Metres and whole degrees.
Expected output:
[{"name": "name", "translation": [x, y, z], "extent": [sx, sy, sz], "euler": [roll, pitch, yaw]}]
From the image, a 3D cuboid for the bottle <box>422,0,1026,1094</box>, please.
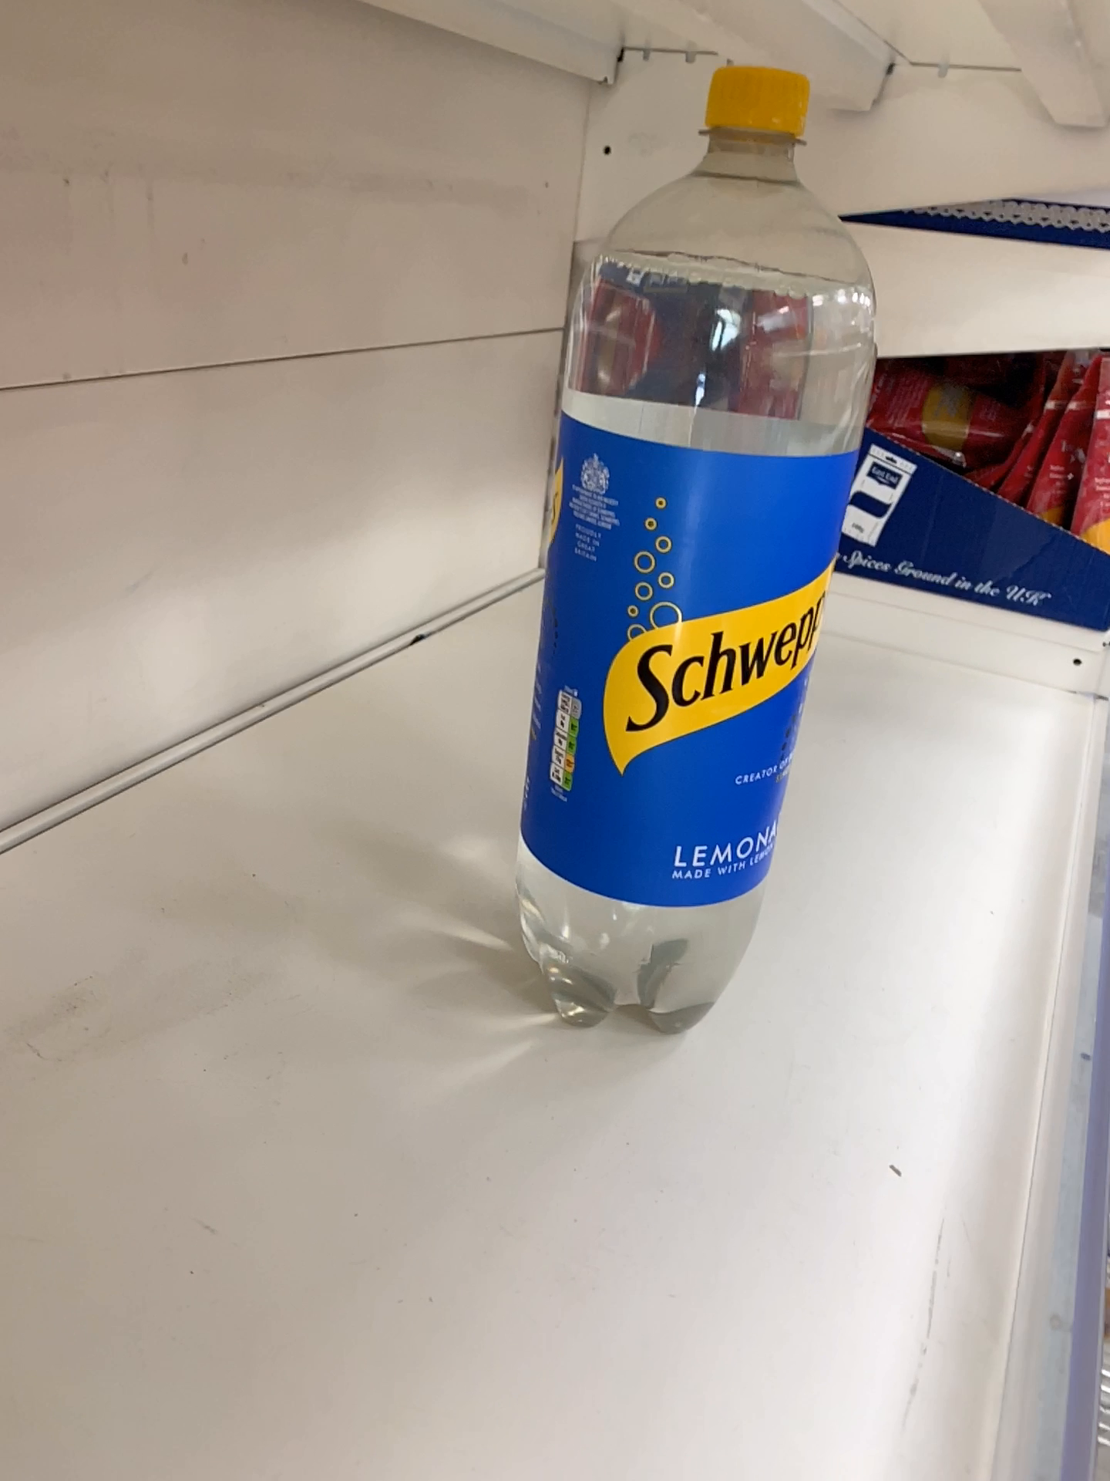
[{"name": "bottle", "translation": [0.039, -0.057, 0.399], "extent": [0.110, 0.327, 0.111], "euler": [6, 25, -3]}]
